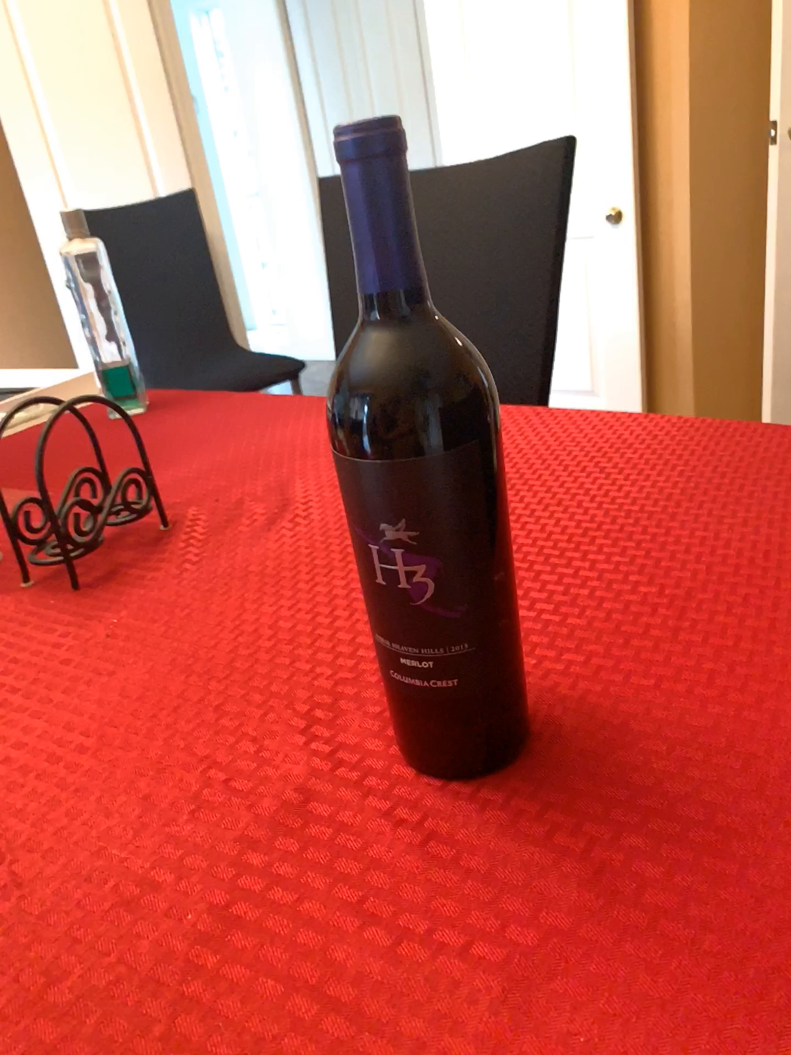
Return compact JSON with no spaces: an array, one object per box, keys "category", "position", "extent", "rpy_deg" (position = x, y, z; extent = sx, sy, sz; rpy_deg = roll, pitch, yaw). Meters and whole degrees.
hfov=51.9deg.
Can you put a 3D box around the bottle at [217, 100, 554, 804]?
[{"category":"bottle","position":[0.011,-0.022,0.363],"extent":[0.080,0.289,0.080],"rpy_deg":[-8,24,4]}]
